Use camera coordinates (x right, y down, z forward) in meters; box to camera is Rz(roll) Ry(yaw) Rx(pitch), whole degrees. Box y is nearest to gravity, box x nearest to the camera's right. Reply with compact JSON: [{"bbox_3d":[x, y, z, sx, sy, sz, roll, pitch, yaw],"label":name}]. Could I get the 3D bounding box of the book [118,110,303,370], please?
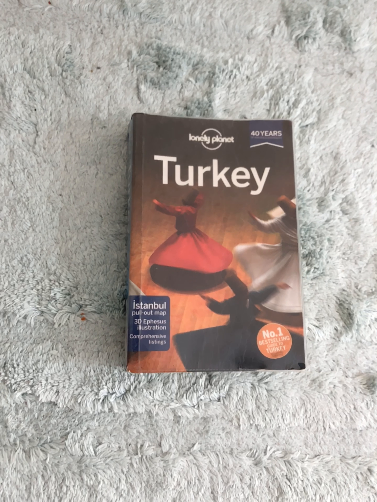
[{"bbox_3d":[0.015,-0.007,0.332,0.130,0.046,0.190,1,80,-7],"label":"book"}]
